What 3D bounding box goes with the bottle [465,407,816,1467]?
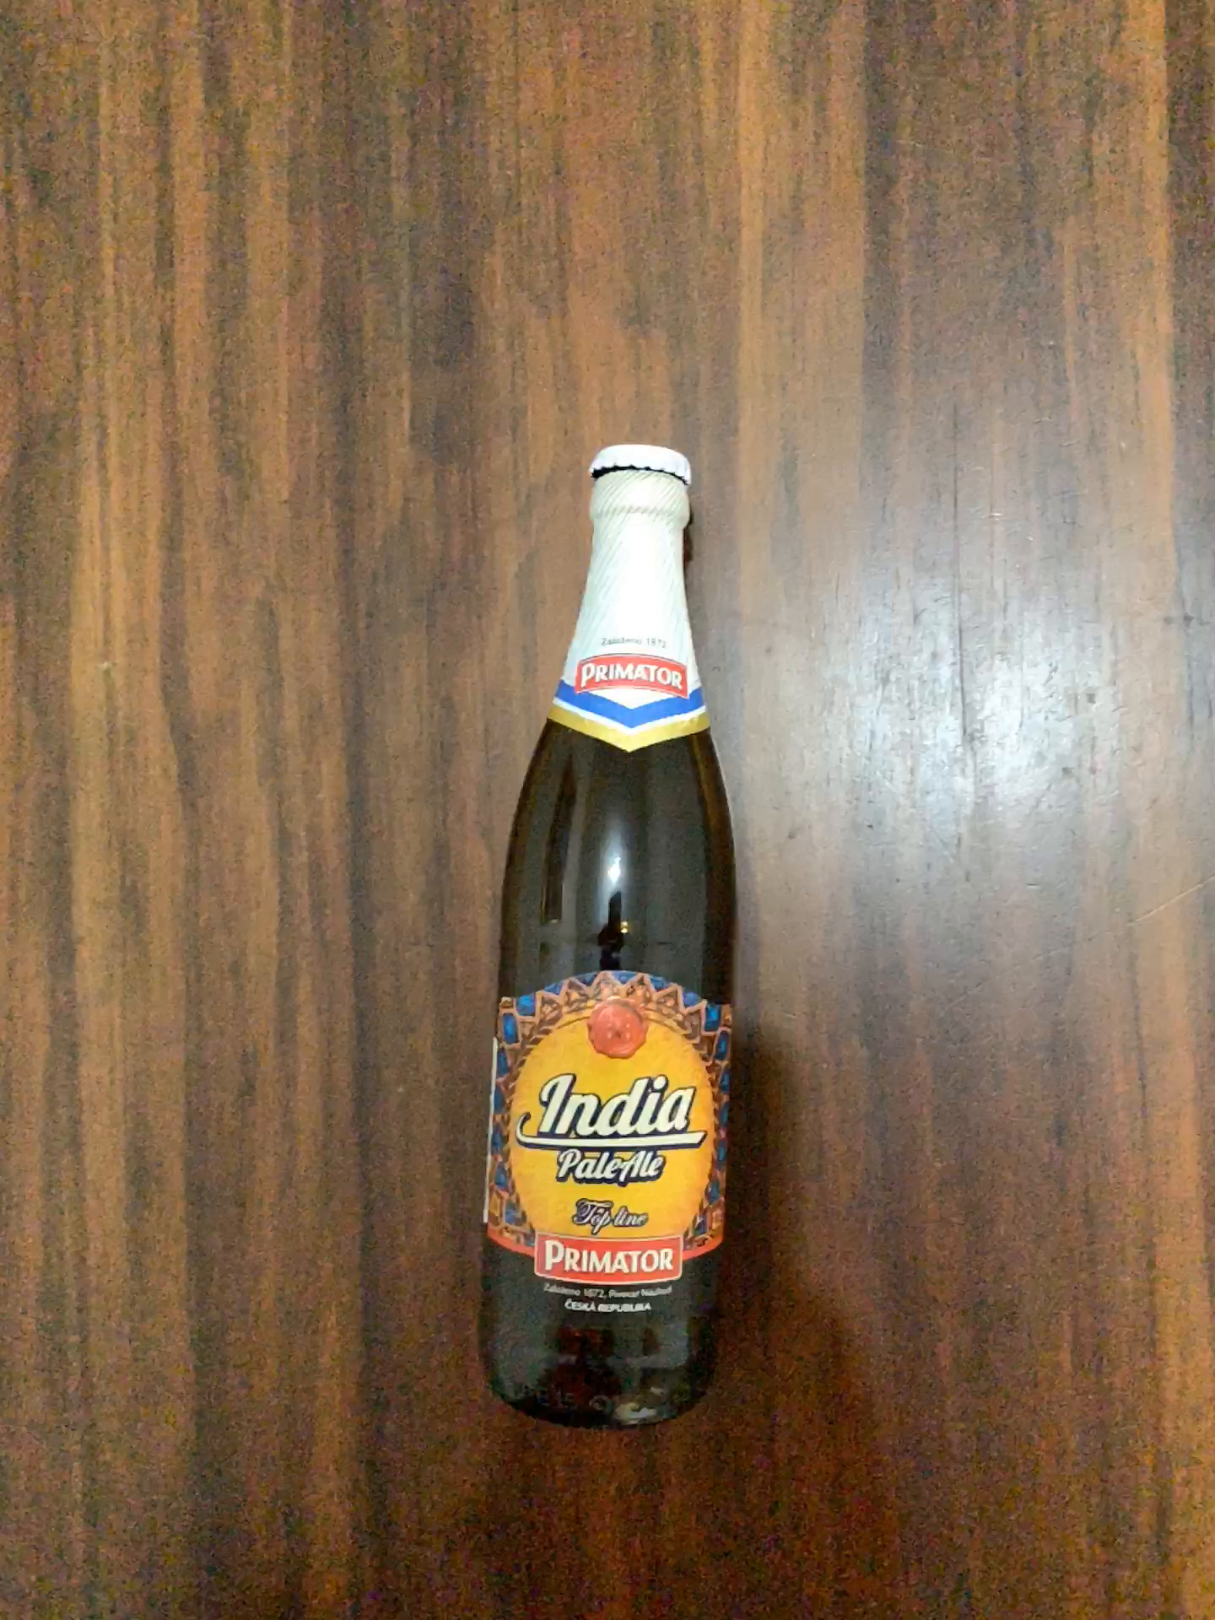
[{"bbox_3d":[0.010,0.030,0.341,0.080,0.060,0.260,2,88,2],"label":"bottle"}]
